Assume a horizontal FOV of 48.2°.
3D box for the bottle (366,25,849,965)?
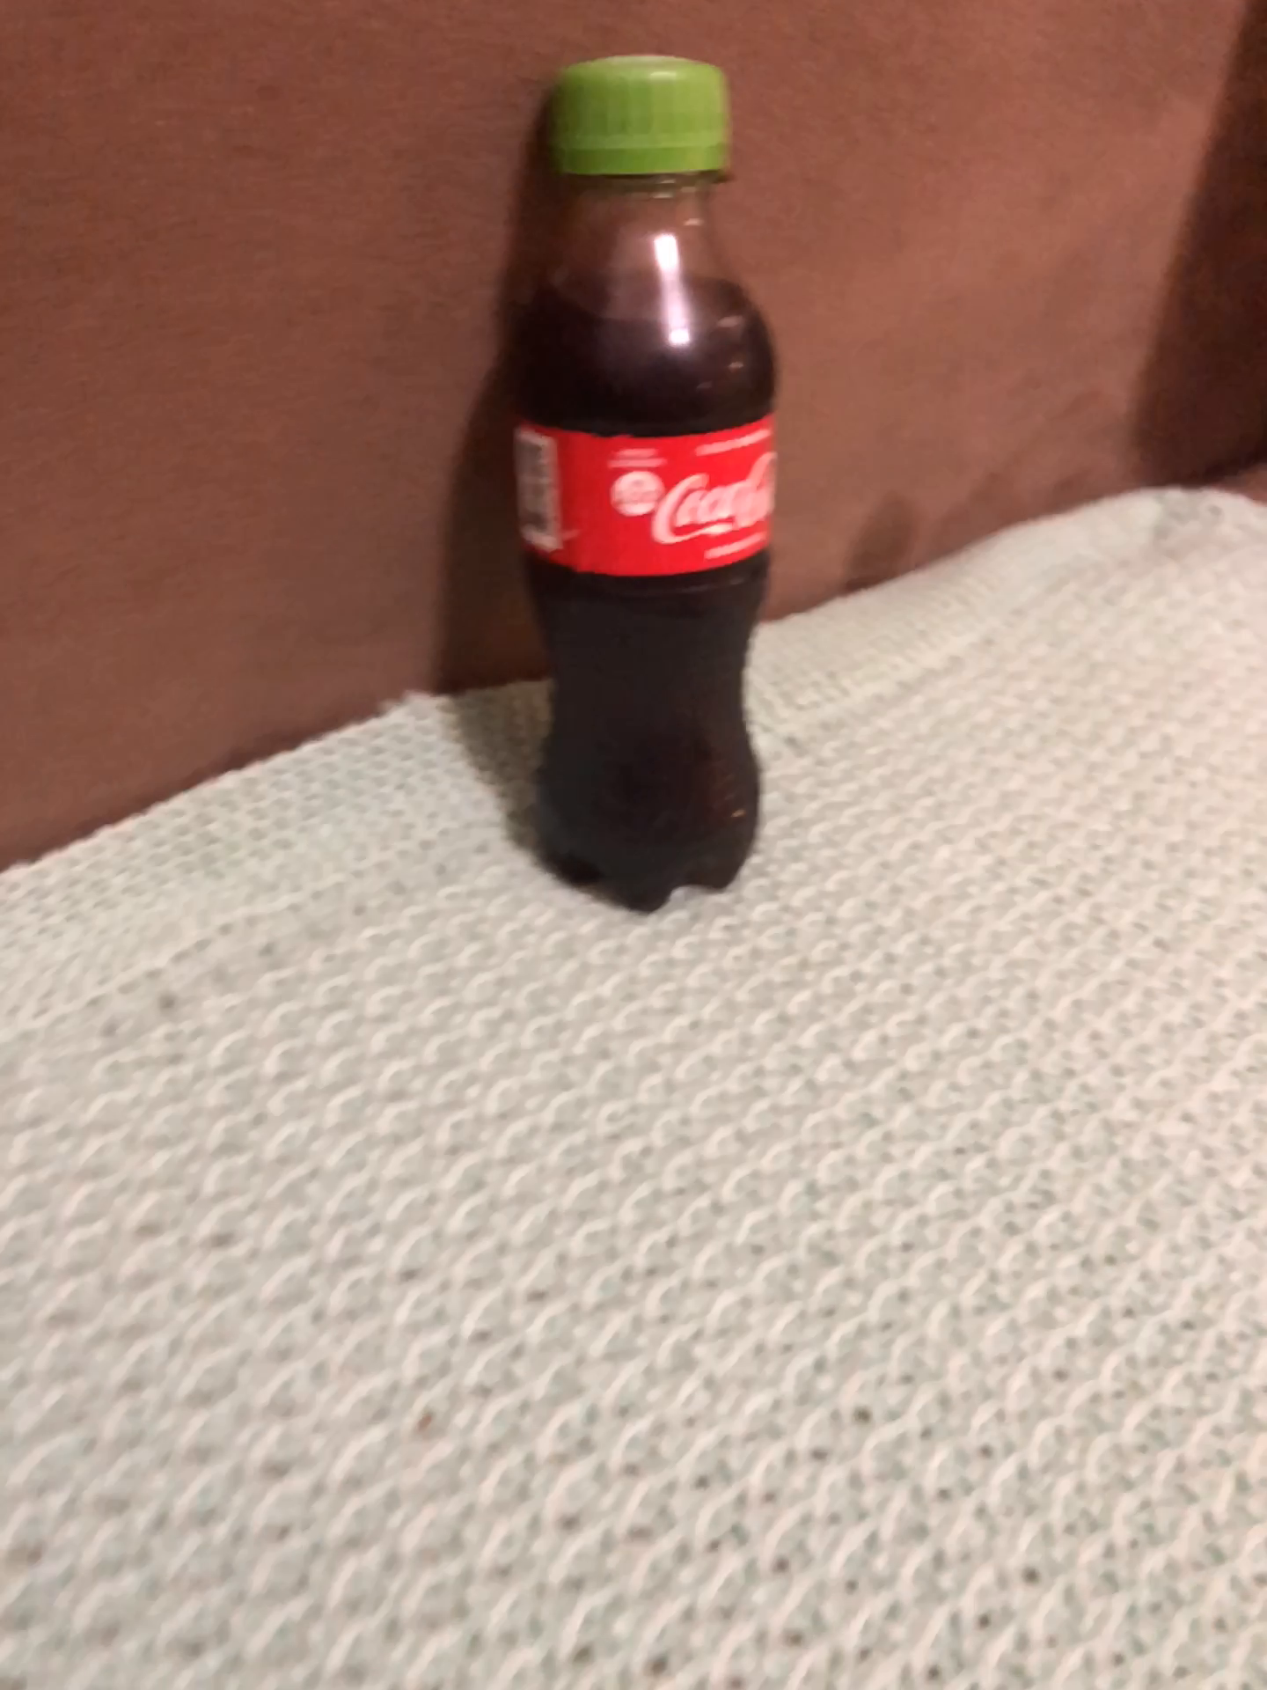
[{"bbox_3d":[-0.005,-0.070,0.290,0.060,0.169,0.060,1,31,-1],"label":"bottle"}]
